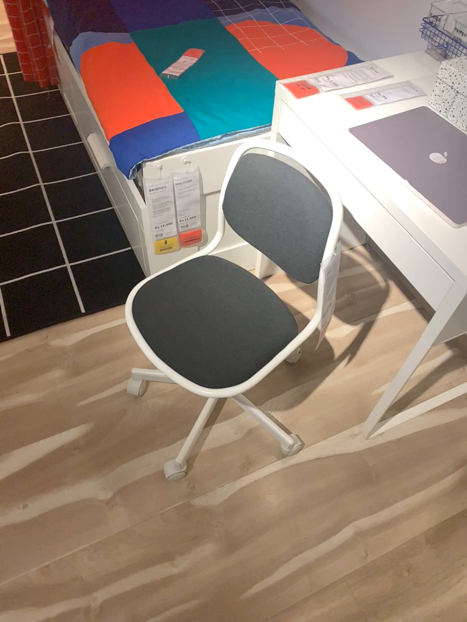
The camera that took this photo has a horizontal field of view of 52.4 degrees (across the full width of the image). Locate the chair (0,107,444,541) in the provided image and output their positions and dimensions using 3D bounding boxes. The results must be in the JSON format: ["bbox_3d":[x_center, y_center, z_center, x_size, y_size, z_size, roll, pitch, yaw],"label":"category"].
[{"bbox_3d":[-0.028,0.031,1.126,0.591,0.628,0.571,-37,62,-26],"label":"chair"}]
